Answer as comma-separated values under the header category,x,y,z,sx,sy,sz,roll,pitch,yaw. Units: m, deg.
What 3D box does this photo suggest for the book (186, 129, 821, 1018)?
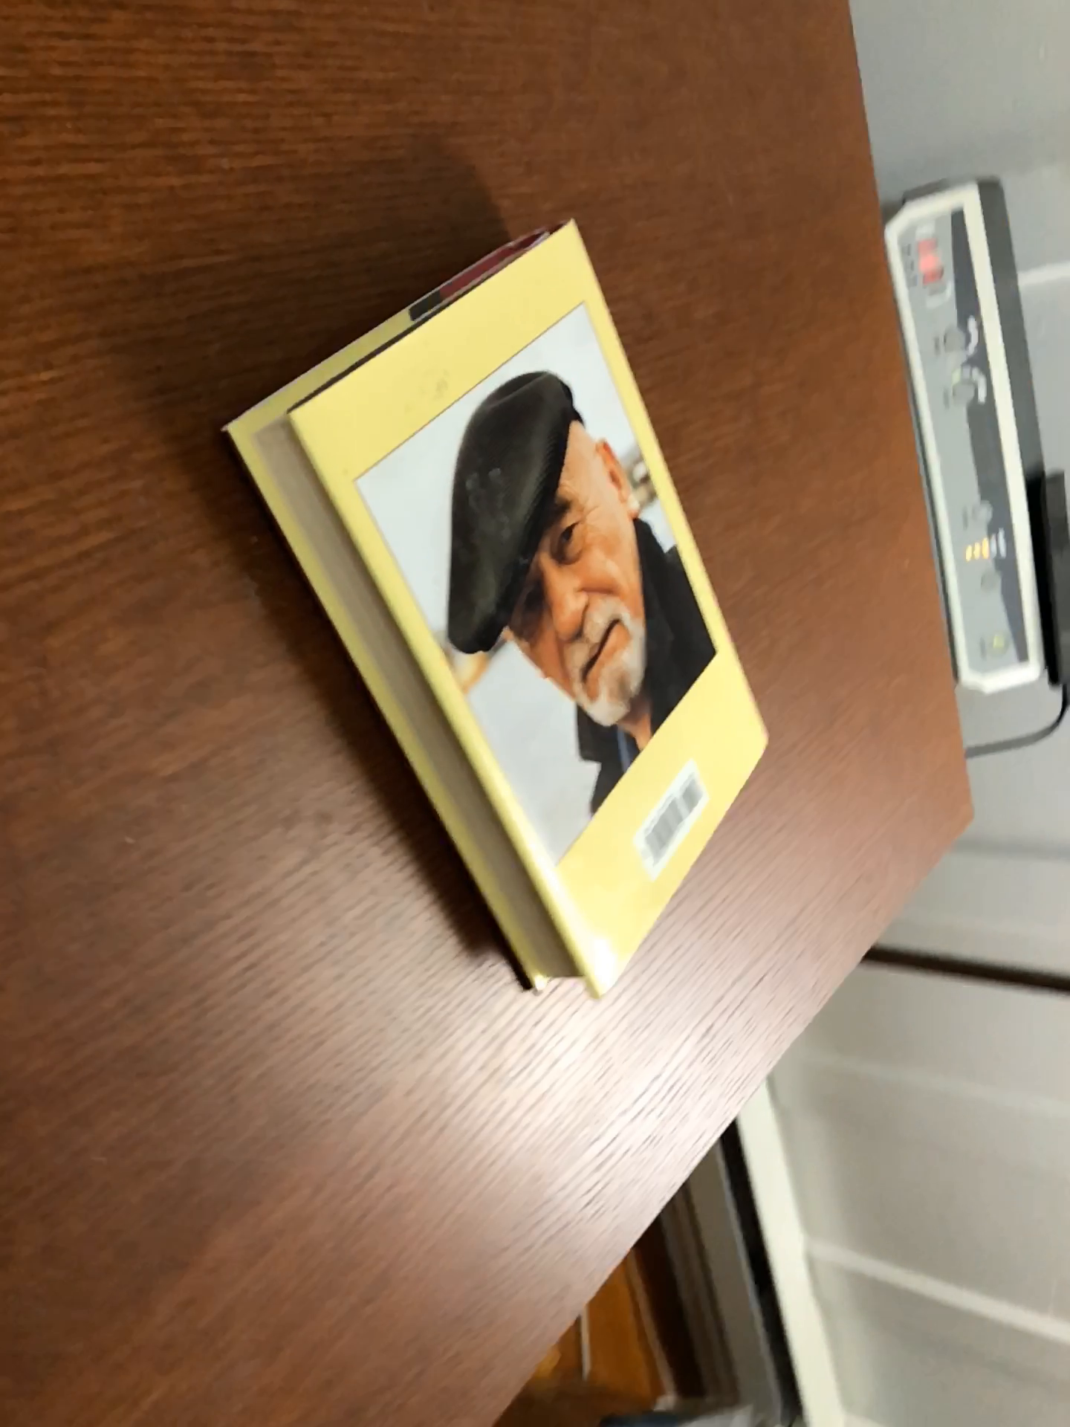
category,x,y,z,sx,sy,sz,roll,pitch,yaw
book,0.016,-0.051,0.426,0.191,0.030,0.250,-48,123,-38
